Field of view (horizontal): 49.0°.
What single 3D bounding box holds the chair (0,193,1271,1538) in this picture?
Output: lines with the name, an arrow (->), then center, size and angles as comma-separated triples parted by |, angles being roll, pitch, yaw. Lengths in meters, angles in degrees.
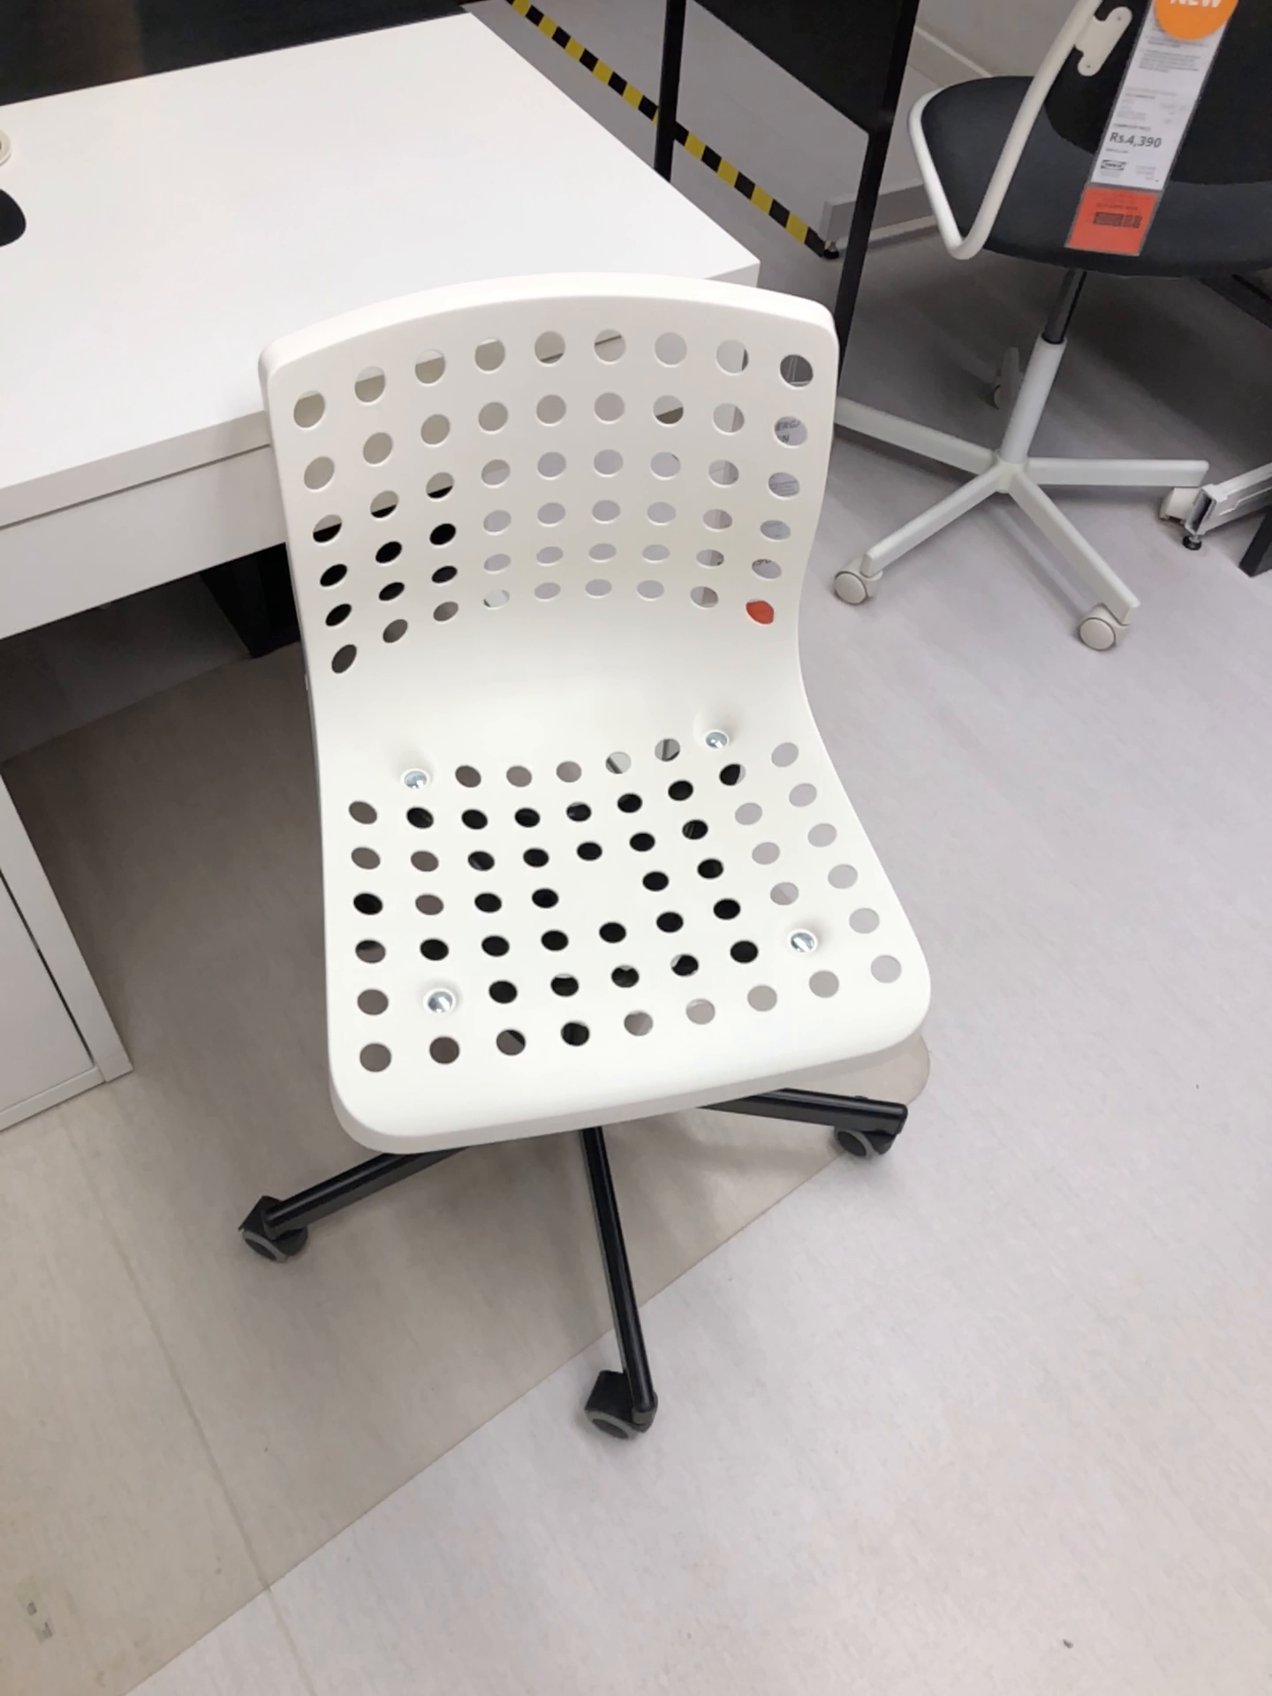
chair -> -0.045, 0.029, 1.096 | 0.670, 0.746, 0.654 | -8, 53, -11
